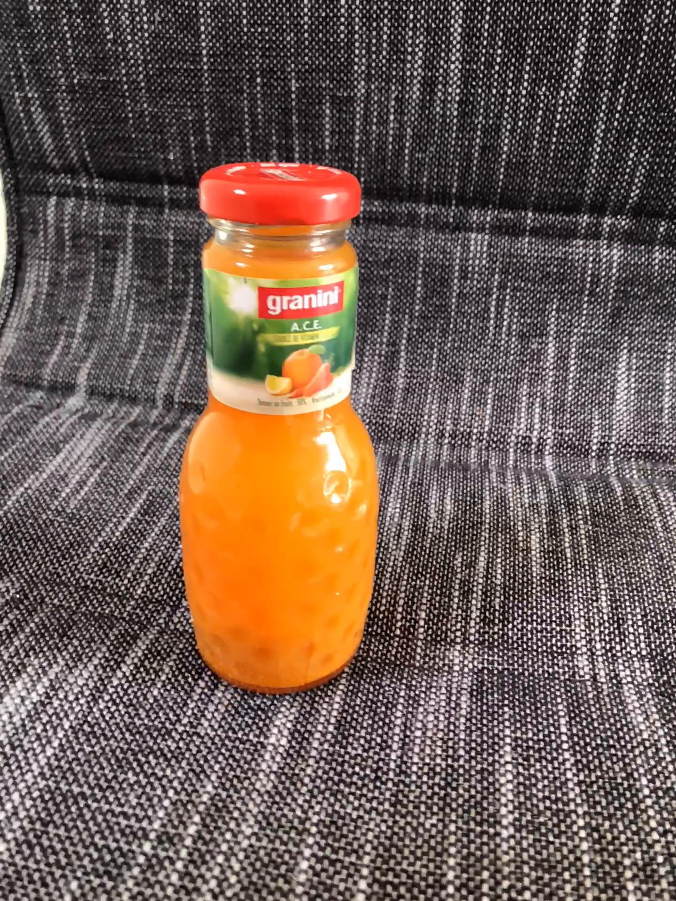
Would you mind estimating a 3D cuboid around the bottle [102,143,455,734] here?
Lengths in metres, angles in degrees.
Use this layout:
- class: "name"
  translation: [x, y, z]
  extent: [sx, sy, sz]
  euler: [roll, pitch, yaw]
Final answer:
- class: "bottle"
  translation: [-0.020, -0.003, 0.213]
  extent: [0.070, 0.149, 0.060]
  euler: [-7, 31, -17]
